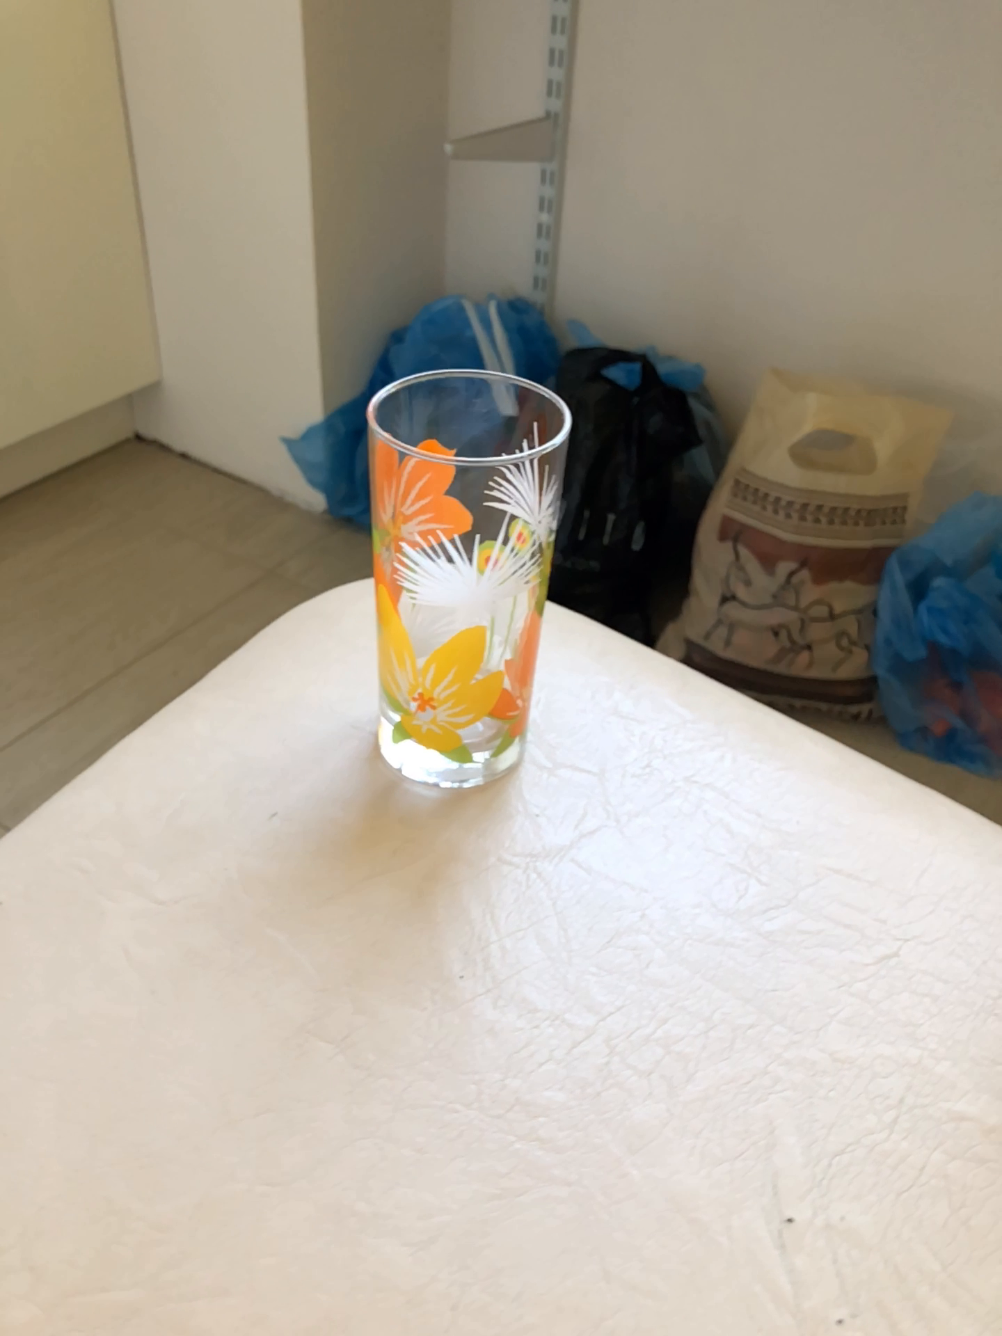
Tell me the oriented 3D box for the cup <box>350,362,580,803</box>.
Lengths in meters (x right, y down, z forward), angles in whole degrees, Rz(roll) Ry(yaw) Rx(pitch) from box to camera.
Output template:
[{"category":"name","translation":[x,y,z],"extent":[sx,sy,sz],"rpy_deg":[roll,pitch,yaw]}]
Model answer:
[{"category":"cup","translation":[-0.012,-0.027,0.381],"extent":[0.063,0.133,0.061],"rpy_deg":[3,37,-2]}]
